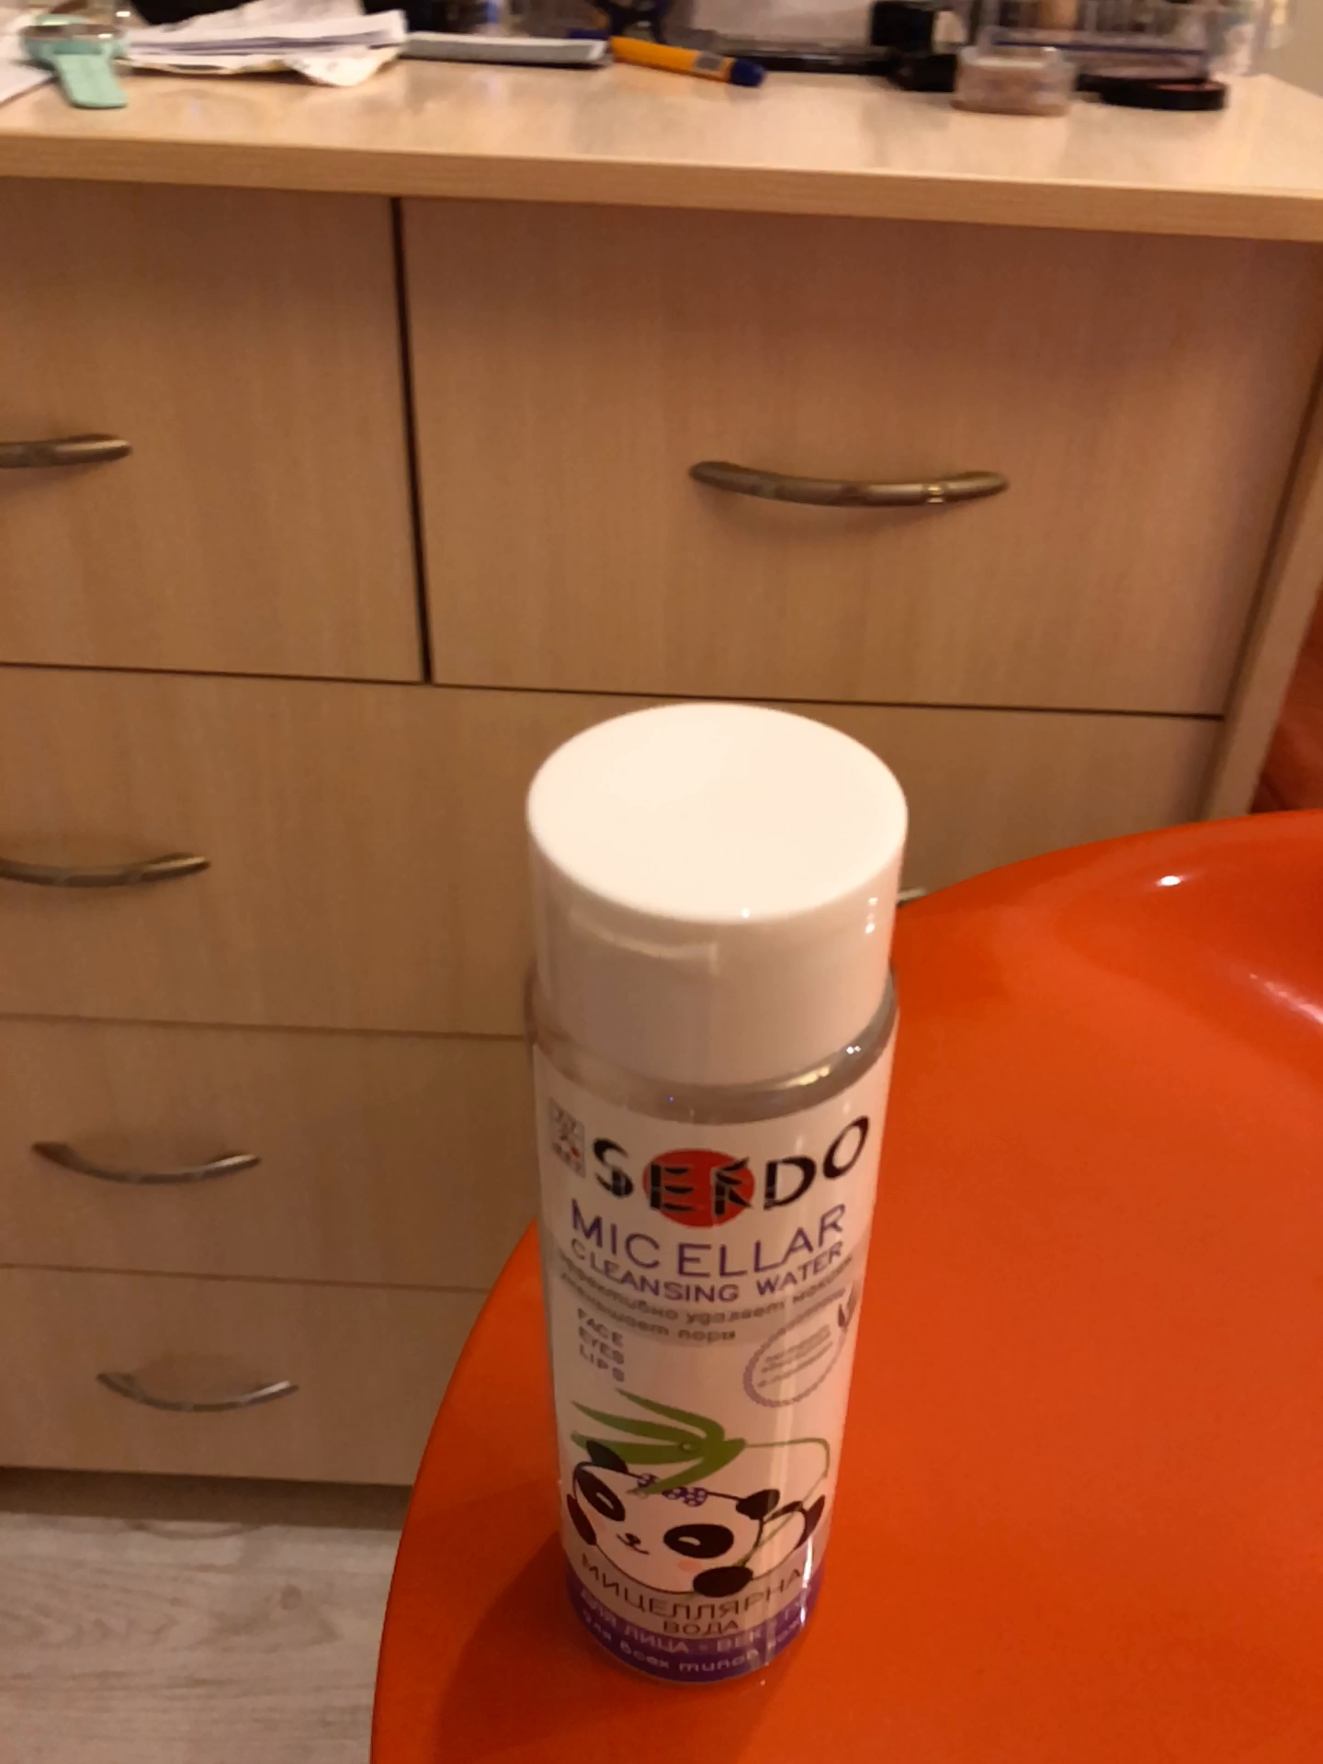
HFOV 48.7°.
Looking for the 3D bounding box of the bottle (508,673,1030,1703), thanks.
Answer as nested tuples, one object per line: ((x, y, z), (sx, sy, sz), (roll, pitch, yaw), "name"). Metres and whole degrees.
((0.007, 0.055, 0.220), (0.053, 0.166, 0.052), (1, 37, -1), "bottle")
